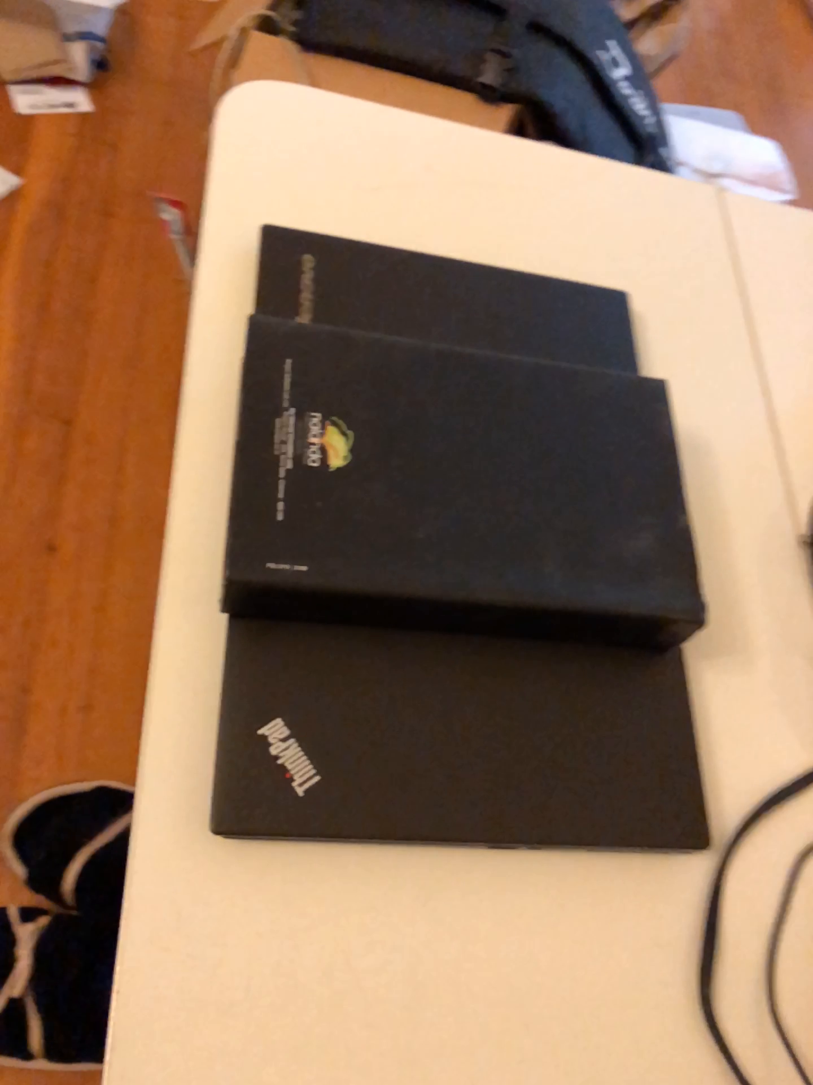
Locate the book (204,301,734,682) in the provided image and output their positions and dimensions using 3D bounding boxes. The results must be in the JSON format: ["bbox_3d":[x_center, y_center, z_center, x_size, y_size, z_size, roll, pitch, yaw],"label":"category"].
[{"bbox_3d":[0.030,-0.021,0.426,0.230,0.040,0.151,7,62,-15],"label":"book"}]
